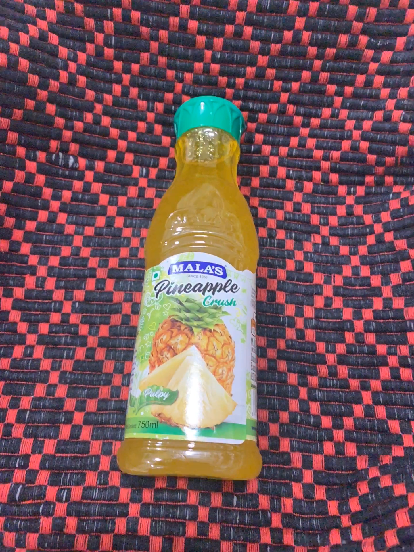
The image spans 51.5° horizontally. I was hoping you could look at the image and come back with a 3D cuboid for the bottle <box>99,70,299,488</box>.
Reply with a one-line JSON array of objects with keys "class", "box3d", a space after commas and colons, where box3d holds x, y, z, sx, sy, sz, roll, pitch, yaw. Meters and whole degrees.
[{"class": "bottle", "box3d": [-0.001, -0.007, 0.251, 0.080, 0.070, 0.230, 4, 65, -3]}]
